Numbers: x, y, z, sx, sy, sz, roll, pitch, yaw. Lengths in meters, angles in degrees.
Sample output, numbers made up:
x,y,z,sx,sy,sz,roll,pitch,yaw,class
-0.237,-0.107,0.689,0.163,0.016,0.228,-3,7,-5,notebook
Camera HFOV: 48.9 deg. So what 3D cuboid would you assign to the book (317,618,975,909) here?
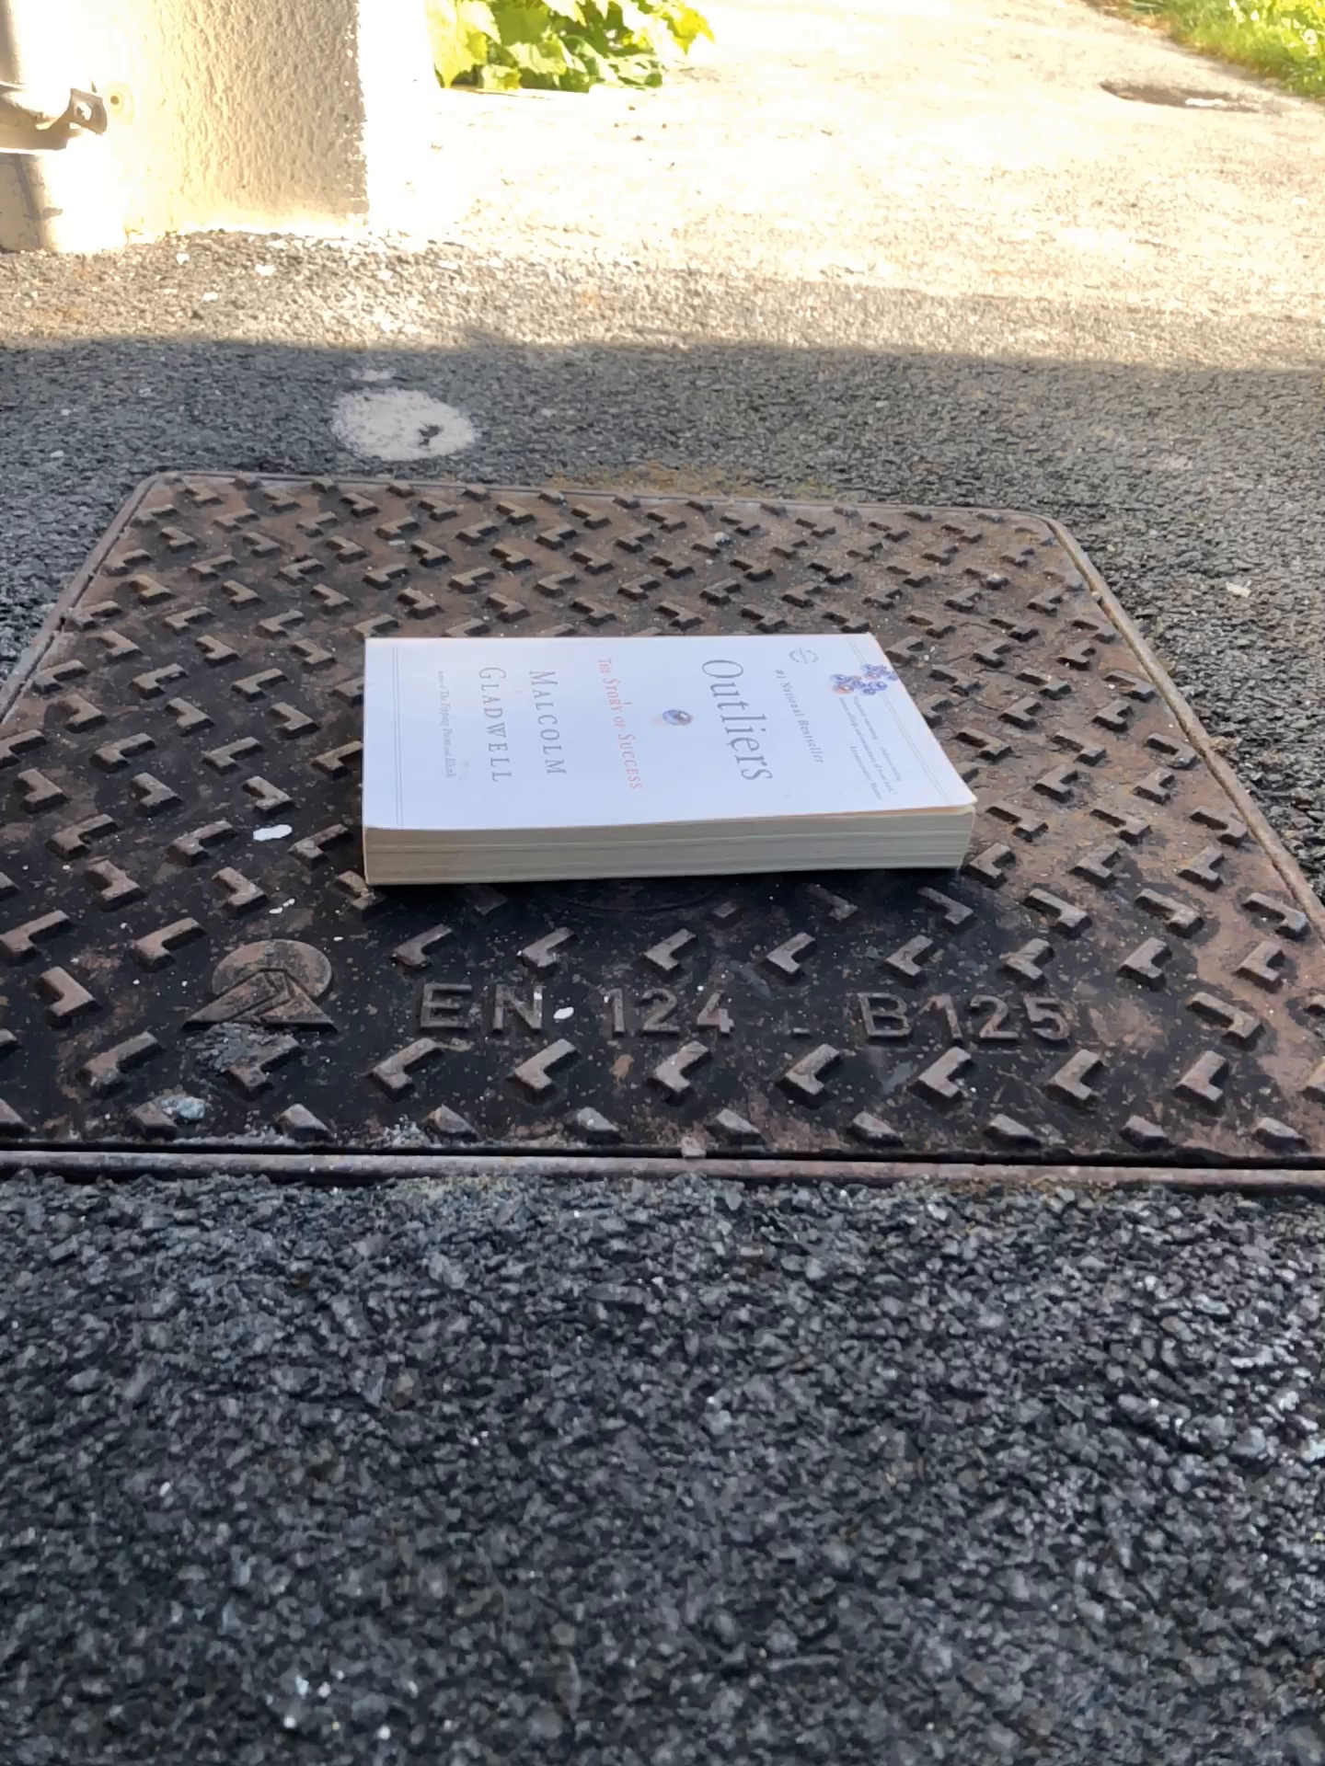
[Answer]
x,y,z,sx,sy,sz,roll,pitch,yaw,class
-0.013,-0.049,0.522,0.210,0.030,0.140,-2,37,-10,book
